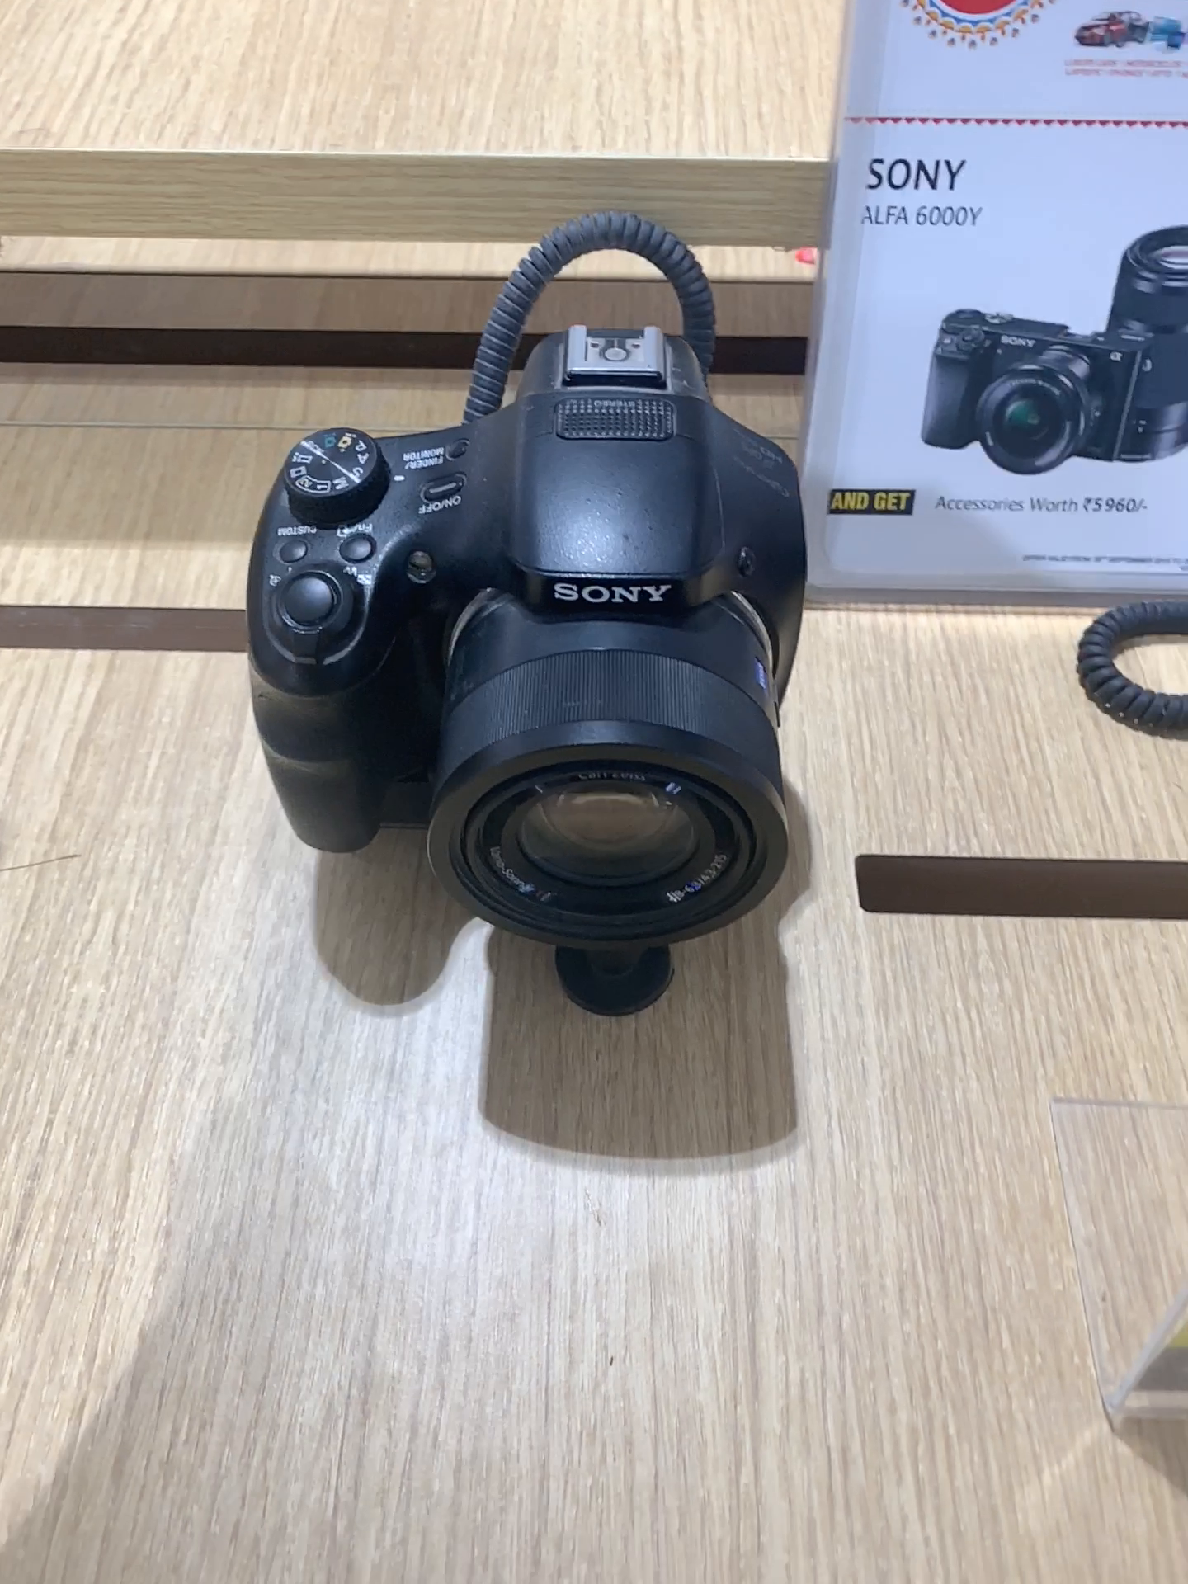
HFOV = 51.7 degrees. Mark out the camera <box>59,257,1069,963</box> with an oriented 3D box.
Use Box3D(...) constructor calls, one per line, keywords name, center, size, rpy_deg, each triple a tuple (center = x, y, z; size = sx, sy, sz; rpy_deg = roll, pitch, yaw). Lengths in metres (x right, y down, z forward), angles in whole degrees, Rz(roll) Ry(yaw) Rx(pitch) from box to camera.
Box3D(name="camera", center=(-0.005, -0.031, 0.237), size=(0.140, 0.100, 0.090), rpy_deg=(0, 54, -1))
